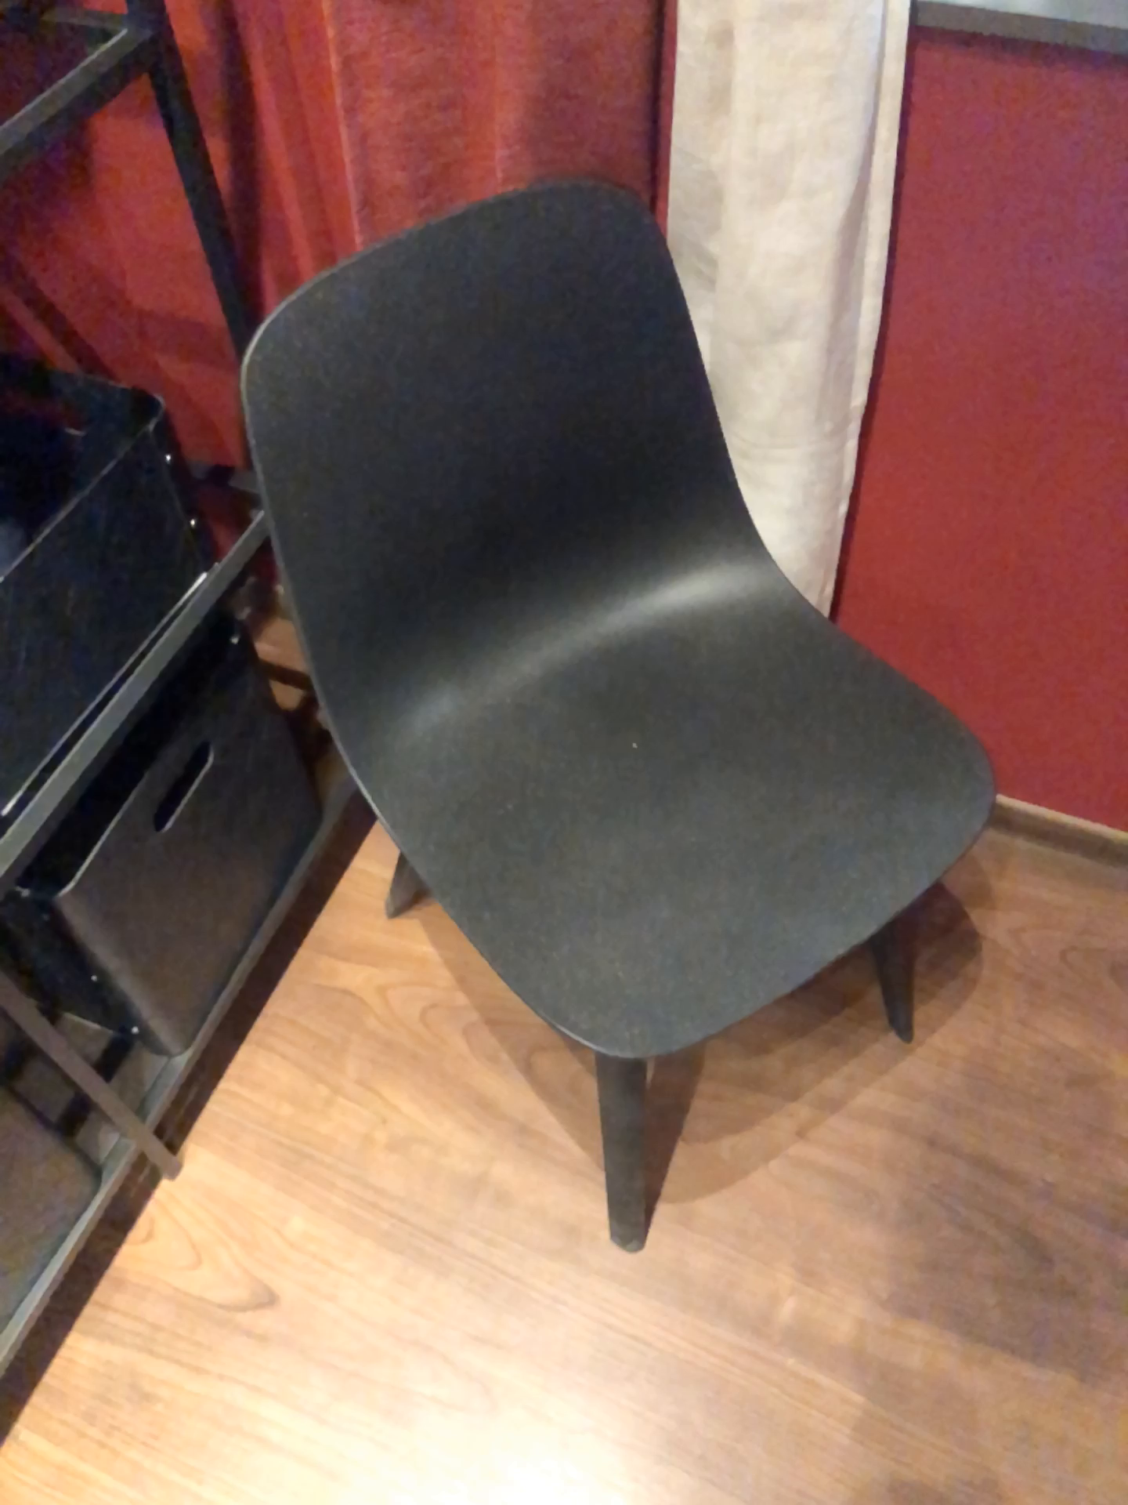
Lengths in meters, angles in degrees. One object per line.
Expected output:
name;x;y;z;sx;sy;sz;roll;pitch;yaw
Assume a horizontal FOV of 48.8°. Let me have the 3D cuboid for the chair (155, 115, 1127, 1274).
chair;0.062;0.000;1.019;0.411;0.726;0.482;-30;57;-18
